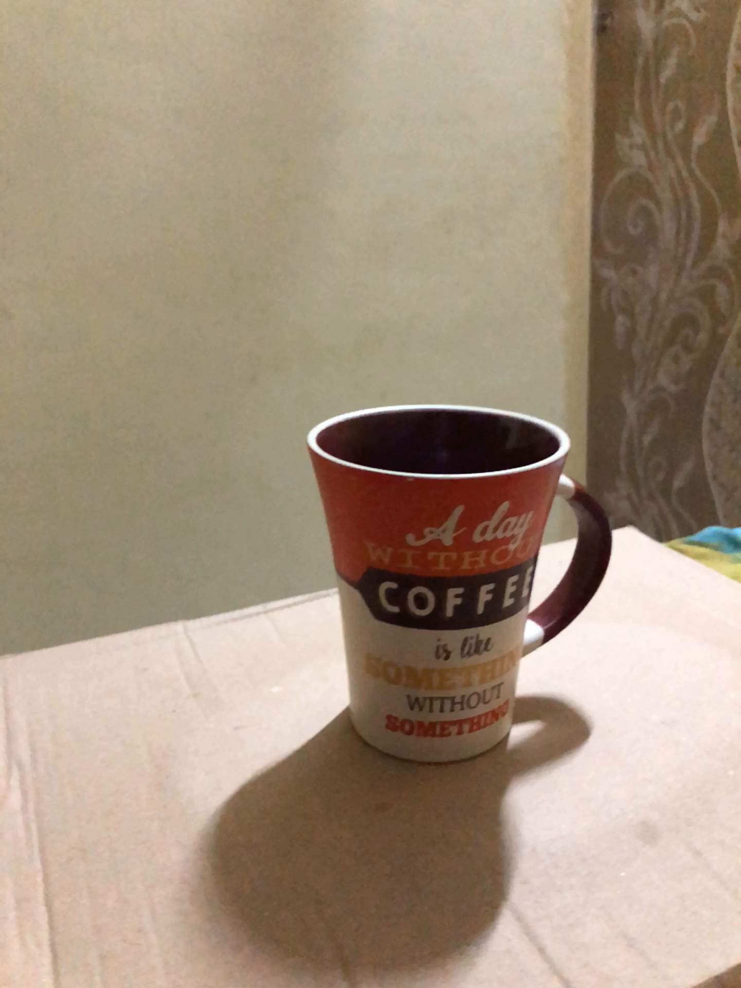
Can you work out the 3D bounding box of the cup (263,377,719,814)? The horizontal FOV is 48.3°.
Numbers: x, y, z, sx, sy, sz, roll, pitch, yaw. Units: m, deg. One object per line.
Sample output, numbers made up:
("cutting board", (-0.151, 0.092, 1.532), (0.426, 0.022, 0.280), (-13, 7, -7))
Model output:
("cup", (0.040, 0.025, 0.313), (0.130, 0.109, 0.100), (-10, 18, -19))
